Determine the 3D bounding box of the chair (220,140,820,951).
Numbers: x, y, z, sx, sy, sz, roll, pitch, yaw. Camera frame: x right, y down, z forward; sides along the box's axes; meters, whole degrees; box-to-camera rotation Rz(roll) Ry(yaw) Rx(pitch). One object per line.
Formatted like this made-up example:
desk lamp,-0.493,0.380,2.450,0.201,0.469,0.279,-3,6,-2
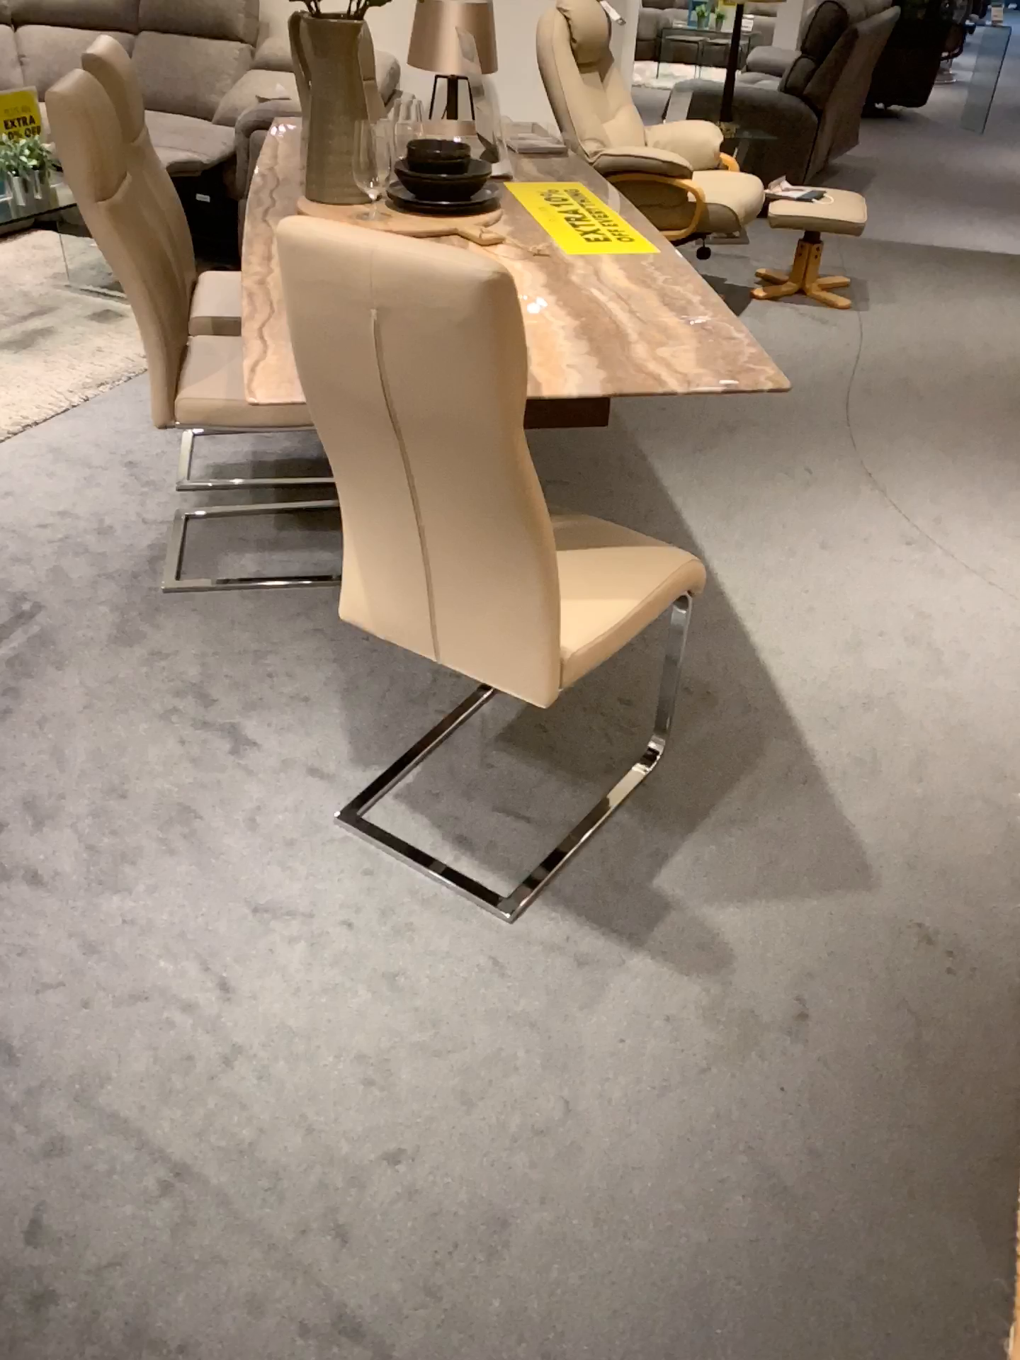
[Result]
chair,0.018,-0.219,1.595,0.529,0.981,0.587,23,41,26
